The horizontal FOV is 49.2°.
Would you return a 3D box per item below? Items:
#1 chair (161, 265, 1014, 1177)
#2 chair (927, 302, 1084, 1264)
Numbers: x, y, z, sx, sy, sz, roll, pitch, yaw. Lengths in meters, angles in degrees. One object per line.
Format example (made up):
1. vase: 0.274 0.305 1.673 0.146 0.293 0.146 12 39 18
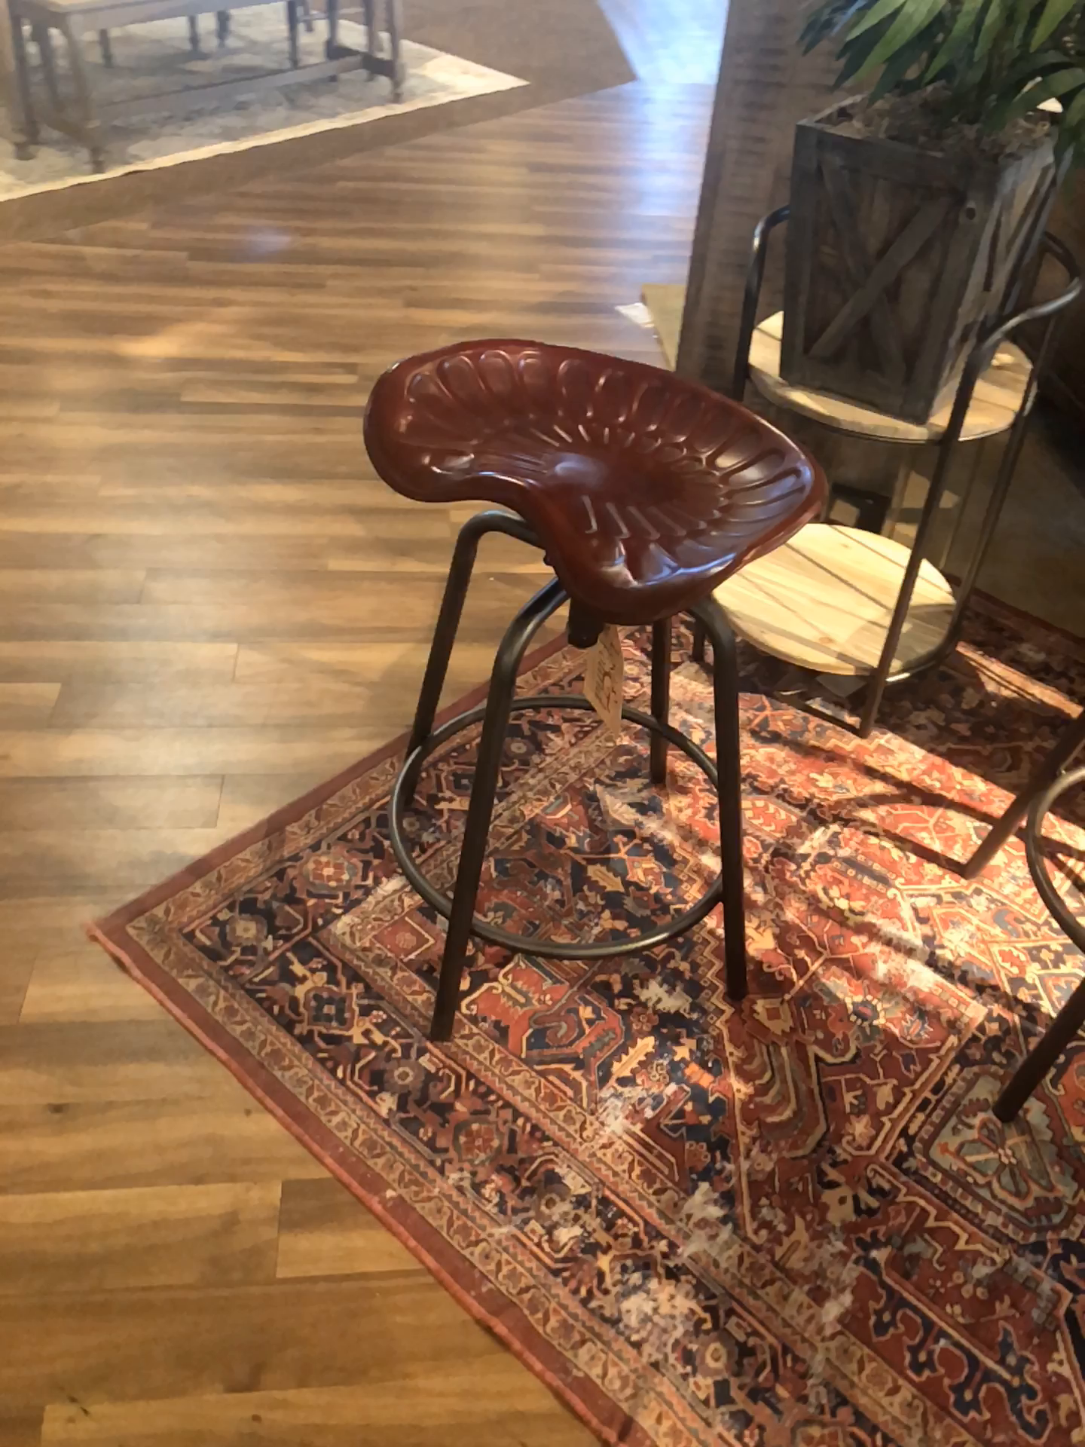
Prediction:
1. chair: 0.051 -0.042 1.332 0.567 0.627 0.612 28 46 24
2. chair: 0.835 0.072 1.204 0.610 0.736 0.540 7 42 2
